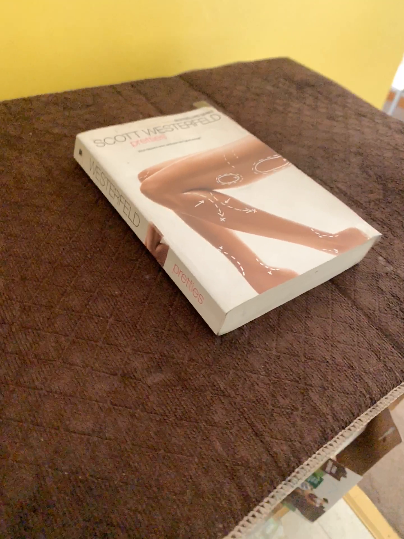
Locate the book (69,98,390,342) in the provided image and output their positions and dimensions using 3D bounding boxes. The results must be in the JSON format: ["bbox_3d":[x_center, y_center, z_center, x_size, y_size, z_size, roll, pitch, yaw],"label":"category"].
[{"bbox_3d":[0.011,-0.063,0.337,0.151,0.030,0.221,-23,54,-27],"label":"book"}]
